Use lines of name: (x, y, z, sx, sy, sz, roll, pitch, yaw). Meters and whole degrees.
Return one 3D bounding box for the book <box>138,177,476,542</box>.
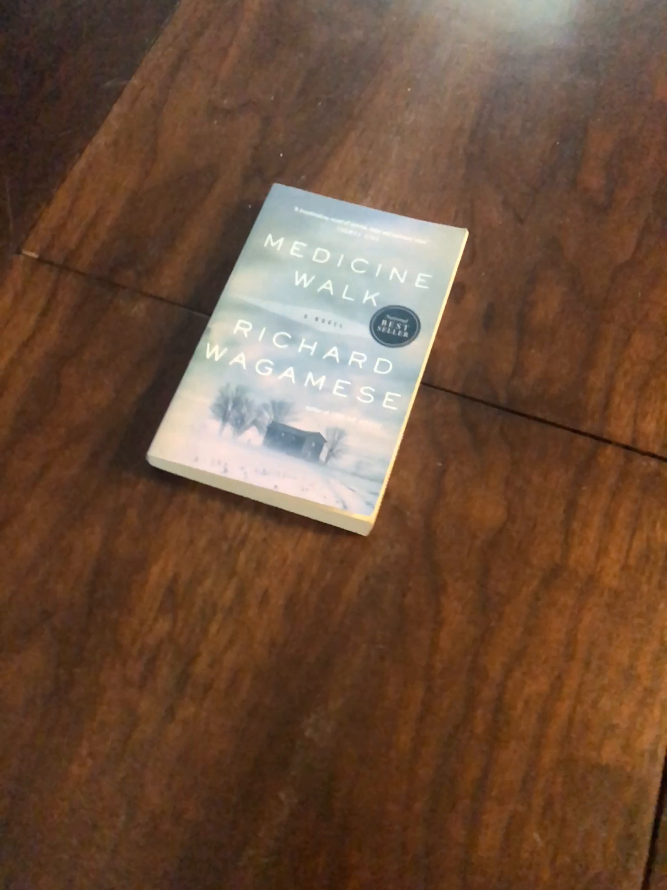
book: (-0.009, -0.061, 0.449, 0.138, 0.027, 0.206, 17, 67, 8)
